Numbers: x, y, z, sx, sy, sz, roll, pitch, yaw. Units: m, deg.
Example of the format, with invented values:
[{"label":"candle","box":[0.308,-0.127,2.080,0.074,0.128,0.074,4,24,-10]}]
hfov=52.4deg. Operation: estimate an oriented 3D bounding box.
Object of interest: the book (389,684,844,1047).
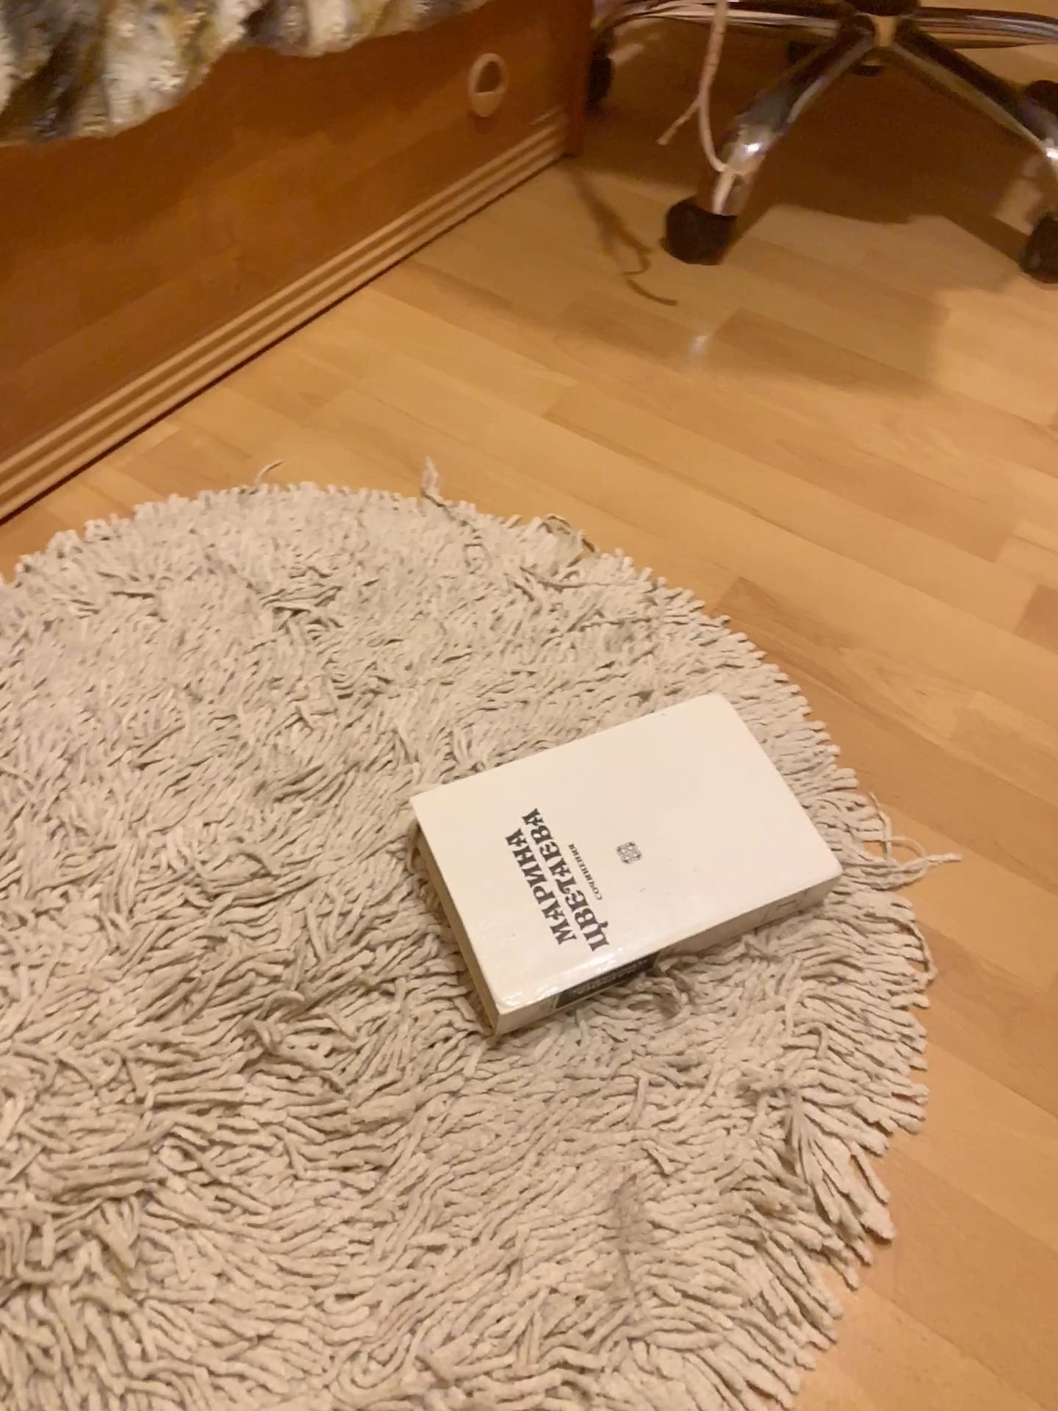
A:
[{"label":"book","box":[0.045,0.080,0.600,0.208,0.040,0.141,-17,55,-18]}]
